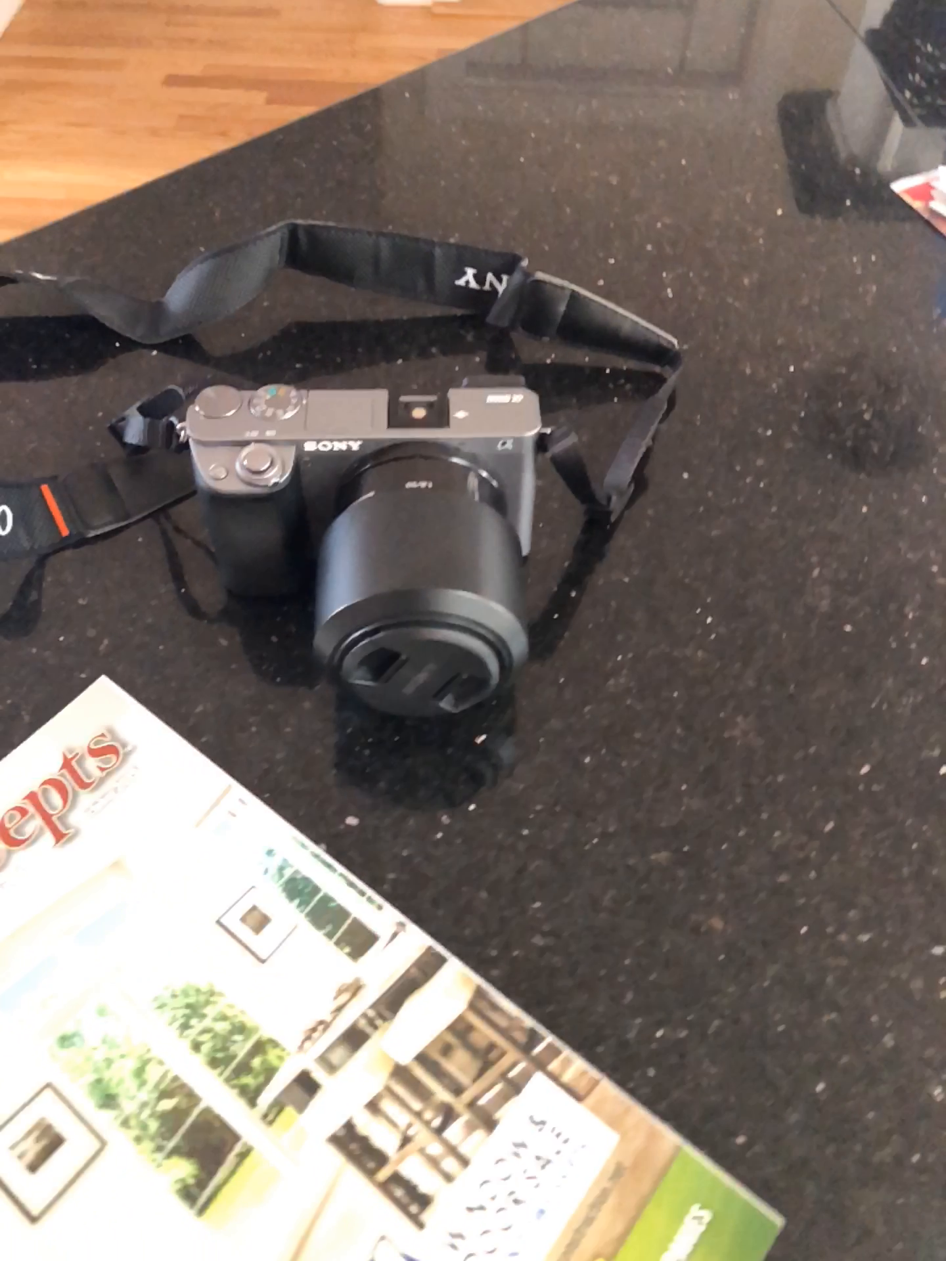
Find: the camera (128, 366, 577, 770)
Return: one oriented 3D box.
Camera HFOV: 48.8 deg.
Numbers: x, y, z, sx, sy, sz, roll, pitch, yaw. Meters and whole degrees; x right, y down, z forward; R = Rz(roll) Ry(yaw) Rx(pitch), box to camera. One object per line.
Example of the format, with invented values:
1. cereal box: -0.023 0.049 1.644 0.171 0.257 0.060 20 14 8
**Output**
1. camera: -0.035 -0.020 0.364 0.127 0.100 0.100 -1 54 -1
